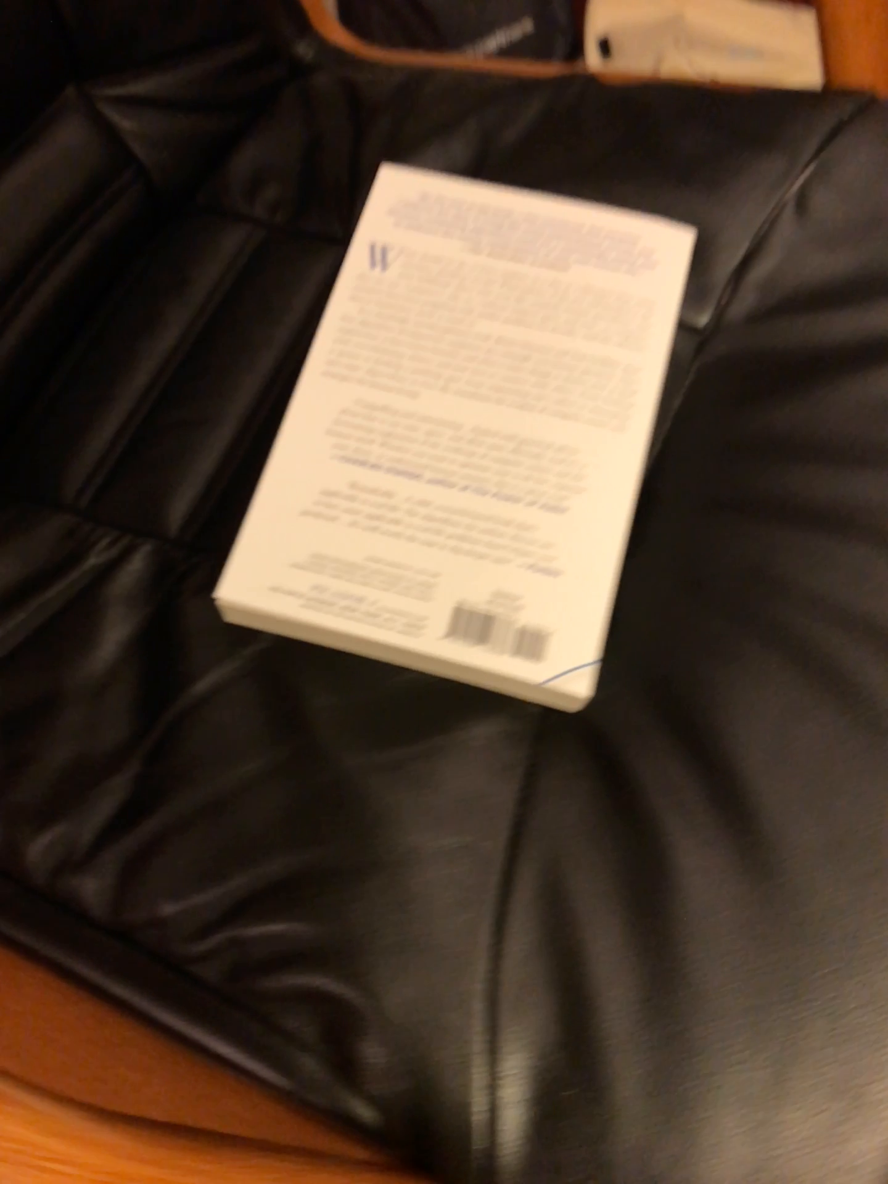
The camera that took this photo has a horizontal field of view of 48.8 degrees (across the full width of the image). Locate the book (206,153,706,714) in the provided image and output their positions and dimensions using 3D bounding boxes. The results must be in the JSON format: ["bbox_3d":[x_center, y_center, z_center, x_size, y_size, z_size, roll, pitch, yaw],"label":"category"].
[{"bbox_3d":[0.015,-0.085,0.442,0.160,0.020,0.251,14,68,8],"label":"book"}]
